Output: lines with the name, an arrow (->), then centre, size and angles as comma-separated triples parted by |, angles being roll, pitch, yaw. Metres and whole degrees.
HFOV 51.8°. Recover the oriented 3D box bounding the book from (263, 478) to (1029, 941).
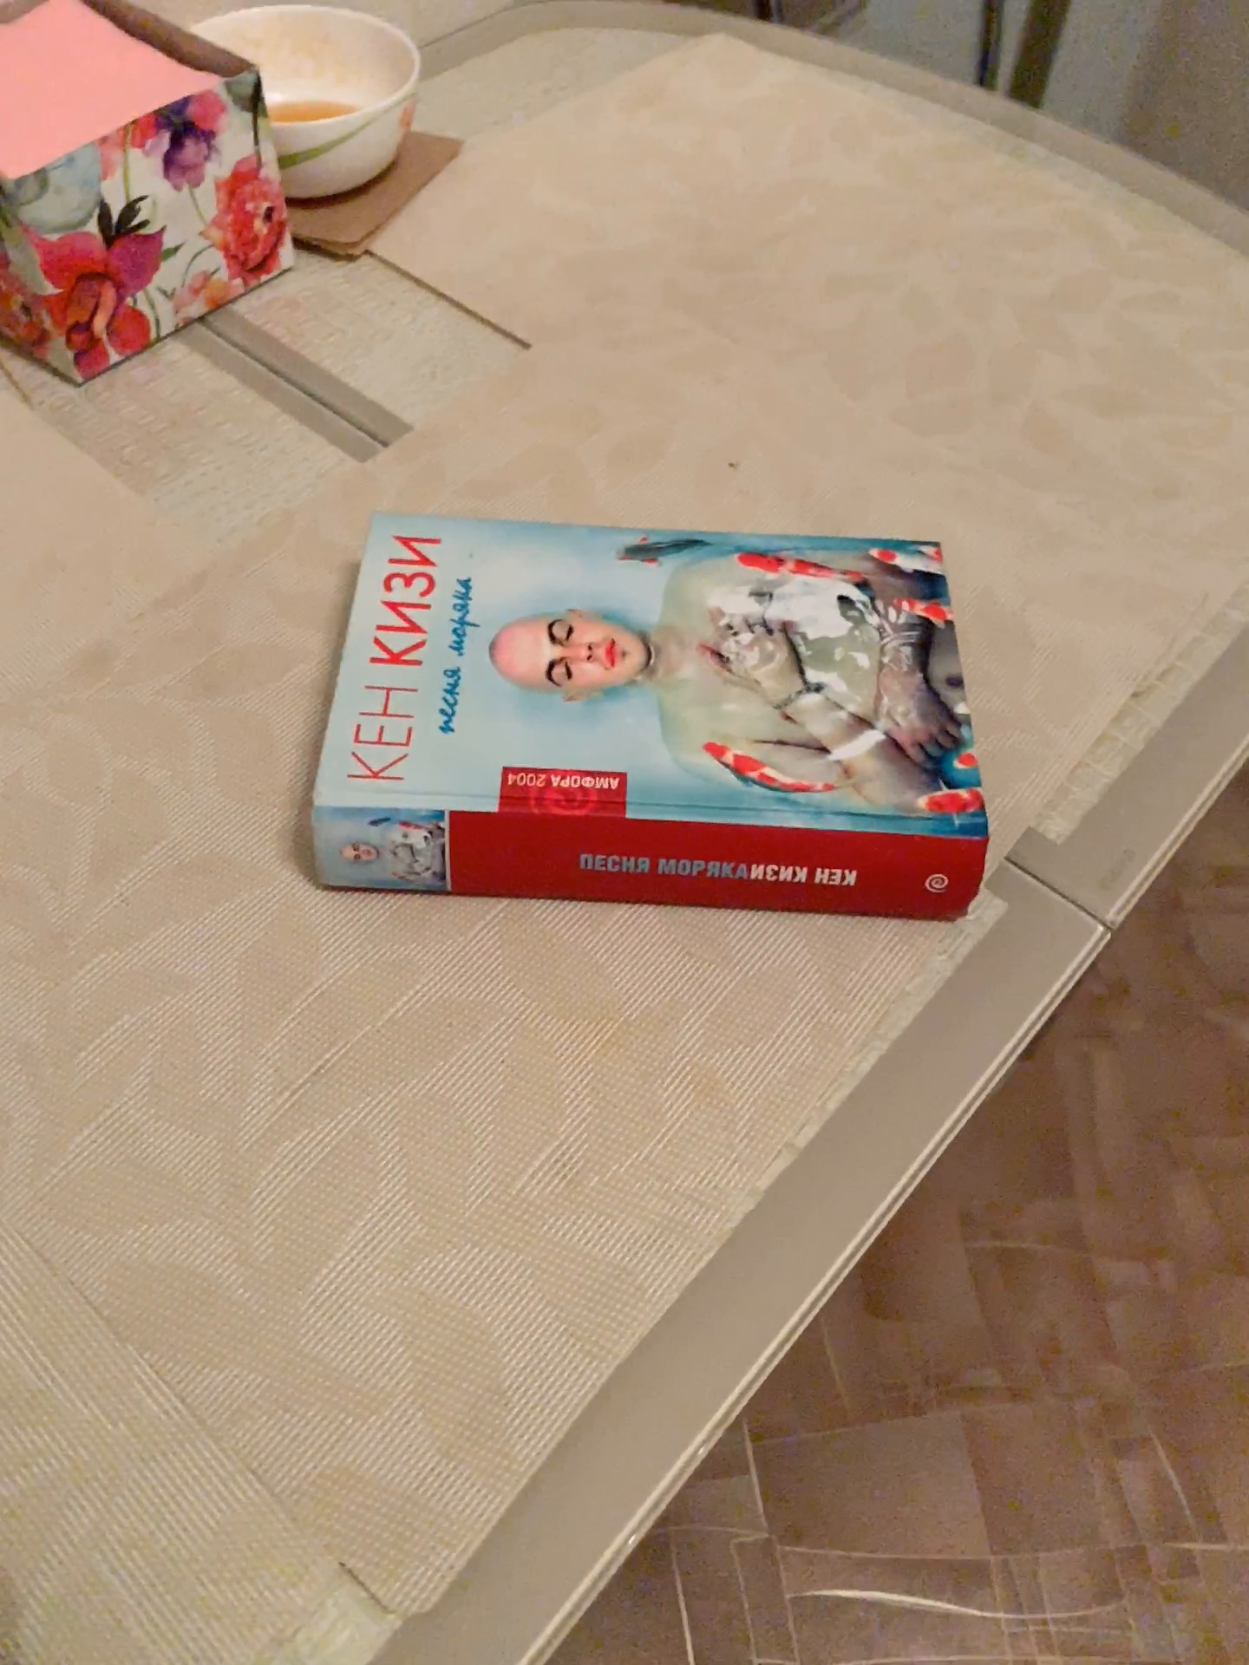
book -> 0.008, -0.044, 0.413 | 0.210, 0.040, 0.151 | 2, 54, -1
